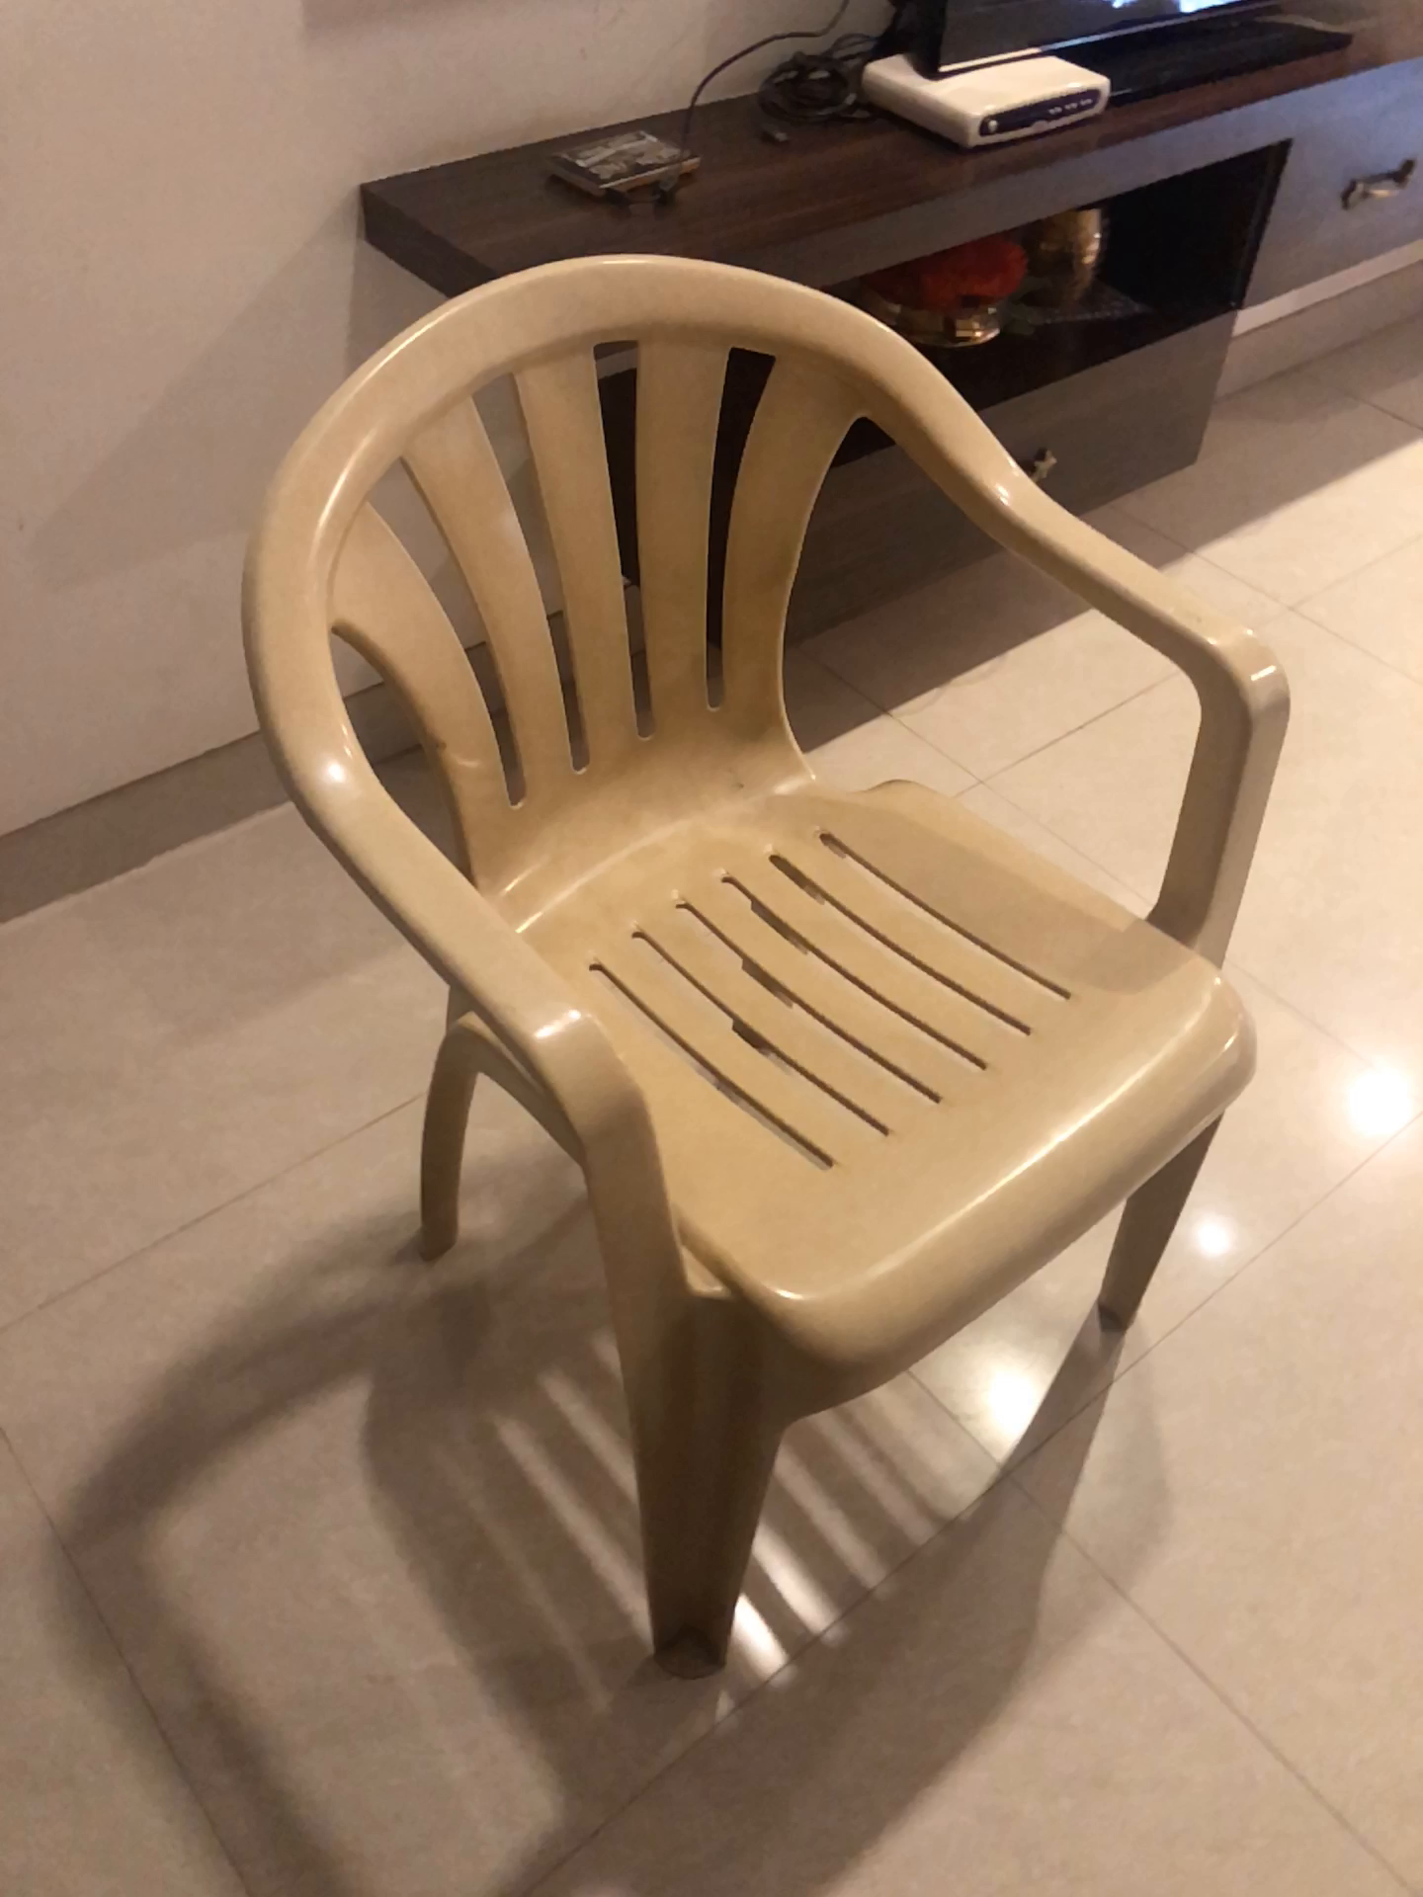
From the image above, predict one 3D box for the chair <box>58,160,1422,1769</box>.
[{"bbox_3d":[0.044,0.008,1.096,0.572,0.774,0.592,-31,55,-29],"label":"chair"}]
